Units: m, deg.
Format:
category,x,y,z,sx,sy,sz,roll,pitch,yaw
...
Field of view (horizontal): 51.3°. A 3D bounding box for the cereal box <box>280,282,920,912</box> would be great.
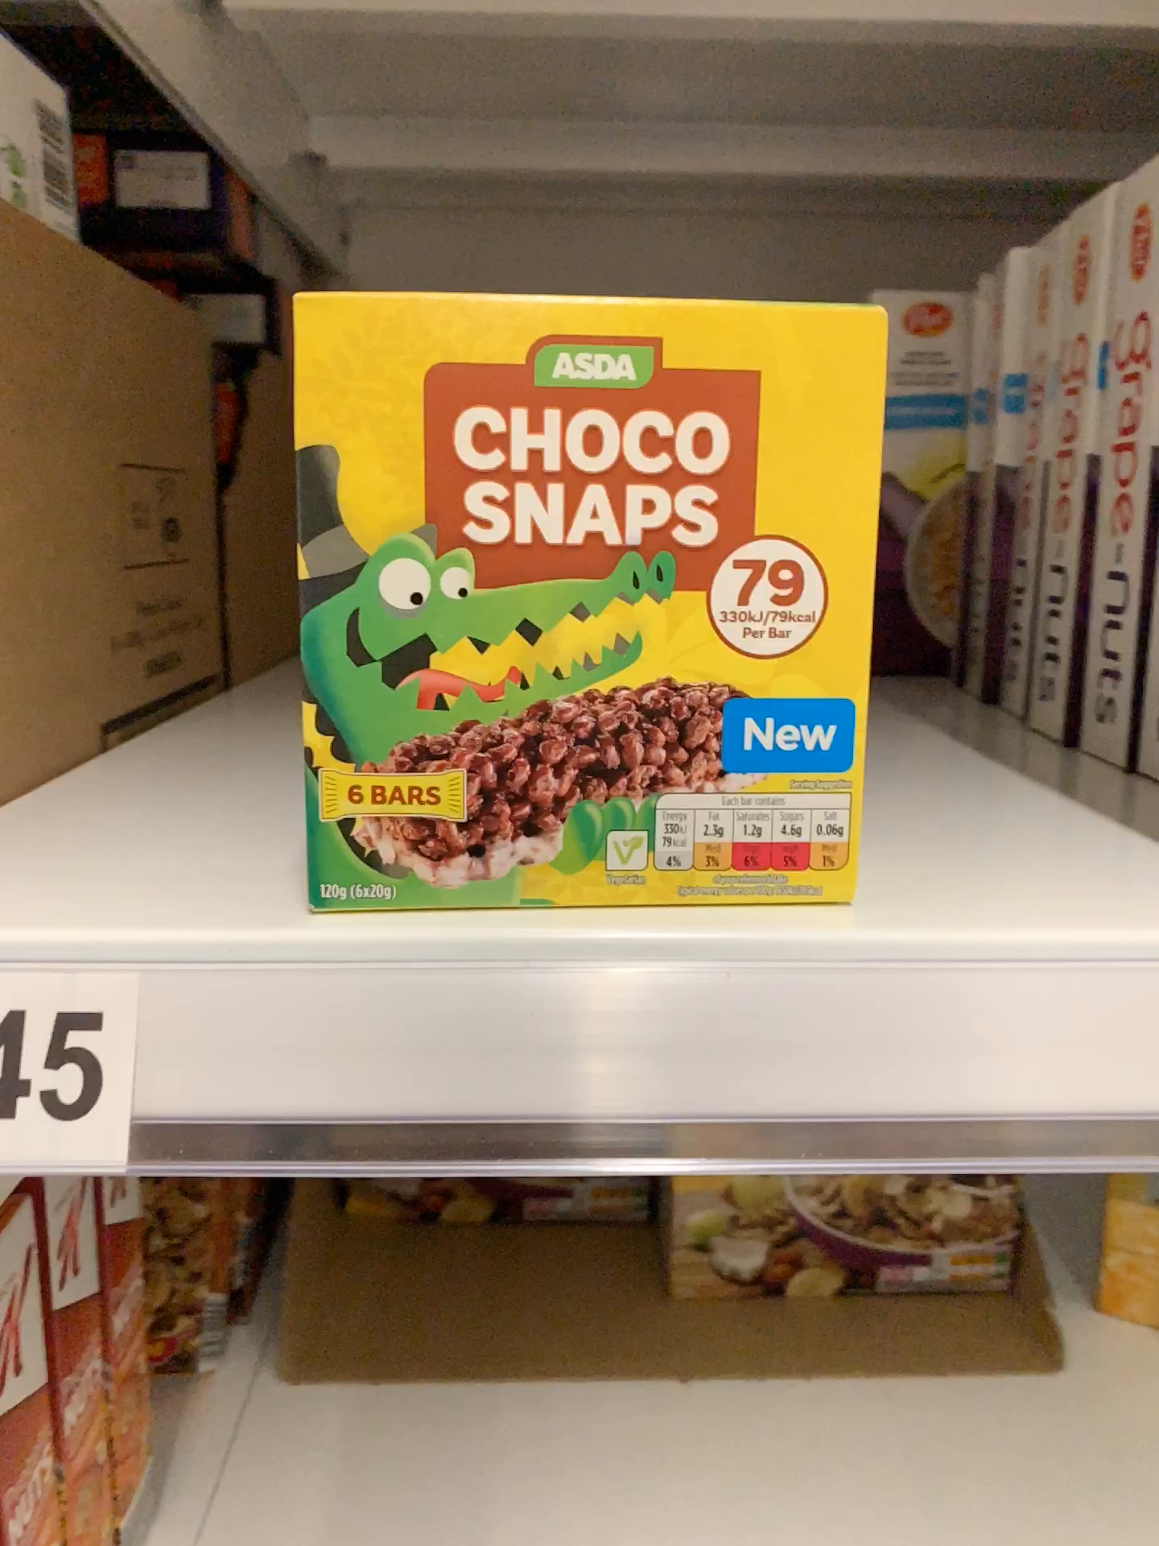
category,x,y,z,sx,sy,sz,roll,pitch,yaw
cereal box,0.002,-0.041,0.290,0.130,0.129,0.070,0,11,-5
